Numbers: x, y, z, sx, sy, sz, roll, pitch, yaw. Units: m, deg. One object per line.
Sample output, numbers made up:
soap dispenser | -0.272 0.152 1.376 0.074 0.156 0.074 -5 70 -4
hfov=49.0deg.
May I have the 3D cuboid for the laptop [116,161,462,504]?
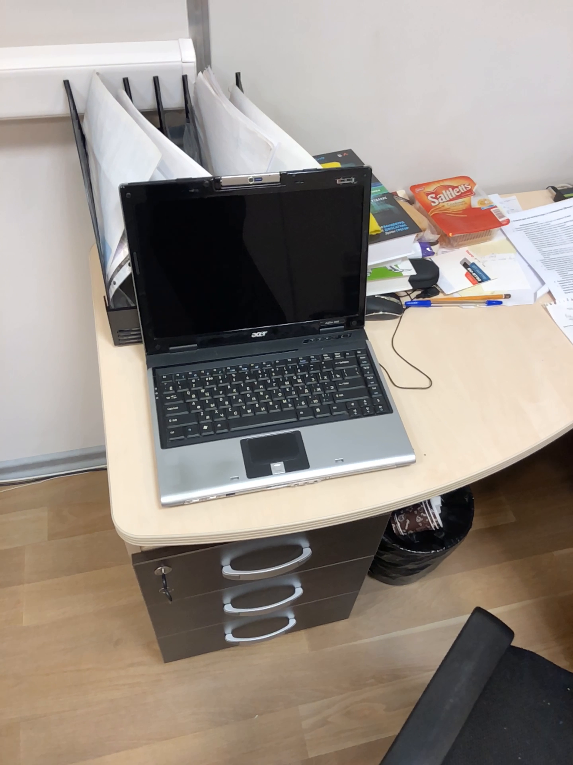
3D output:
laptop | -0.020 -0.073 0.790 0.326 0.219 0.324 -8 53 -10
